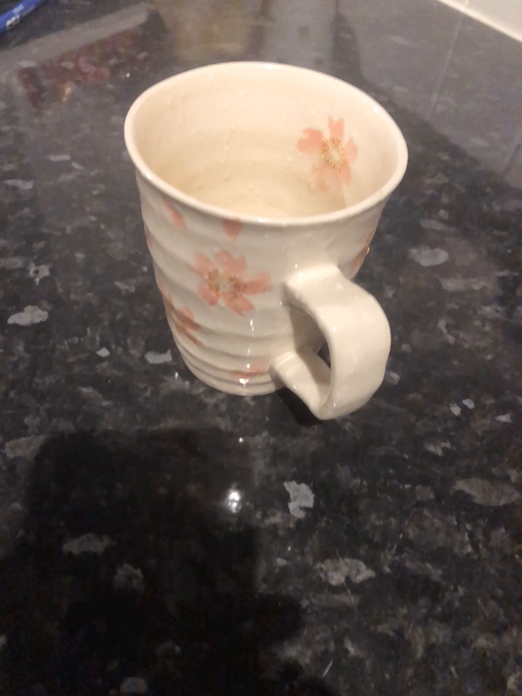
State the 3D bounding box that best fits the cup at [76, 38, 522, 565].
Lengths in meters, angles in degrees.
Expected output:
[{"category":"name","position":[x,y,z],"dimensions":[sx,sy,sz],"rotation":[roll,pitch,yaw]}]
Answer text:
[{"category":"cup","position":[0.008,-0.022,0.200],"dimensions":[0.090,0.099,0.130],"rotation":[-19,55,-20]}]
